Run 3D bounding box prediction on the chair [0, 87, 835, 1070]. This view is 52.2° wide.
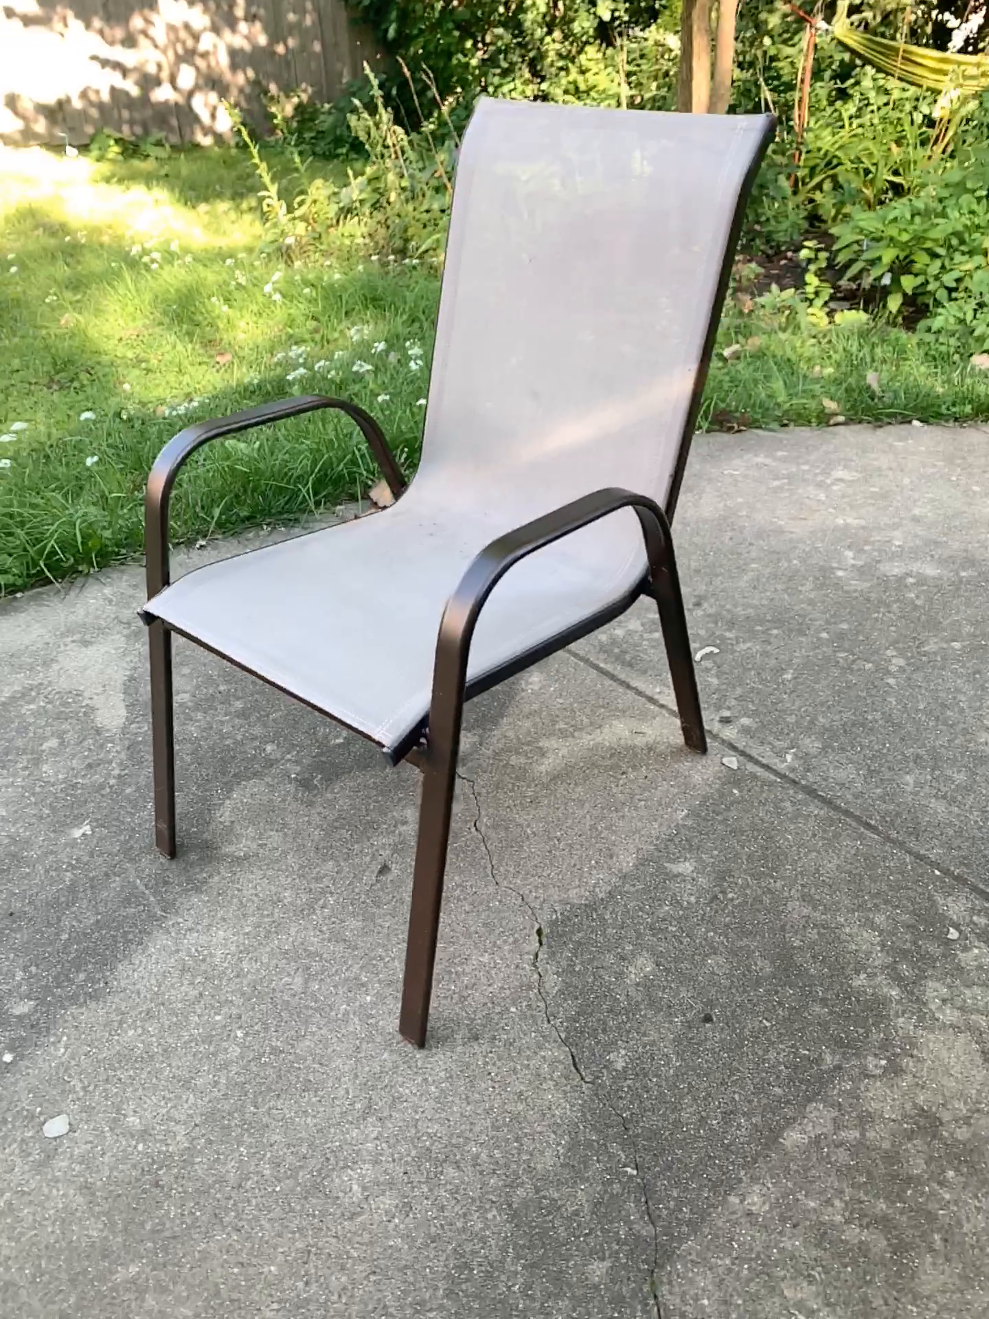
[{"bbox_3d":[-0.078,-0.162,1.253,0.572,0.845,0.742,25,45,33],"label":"chair"}]
